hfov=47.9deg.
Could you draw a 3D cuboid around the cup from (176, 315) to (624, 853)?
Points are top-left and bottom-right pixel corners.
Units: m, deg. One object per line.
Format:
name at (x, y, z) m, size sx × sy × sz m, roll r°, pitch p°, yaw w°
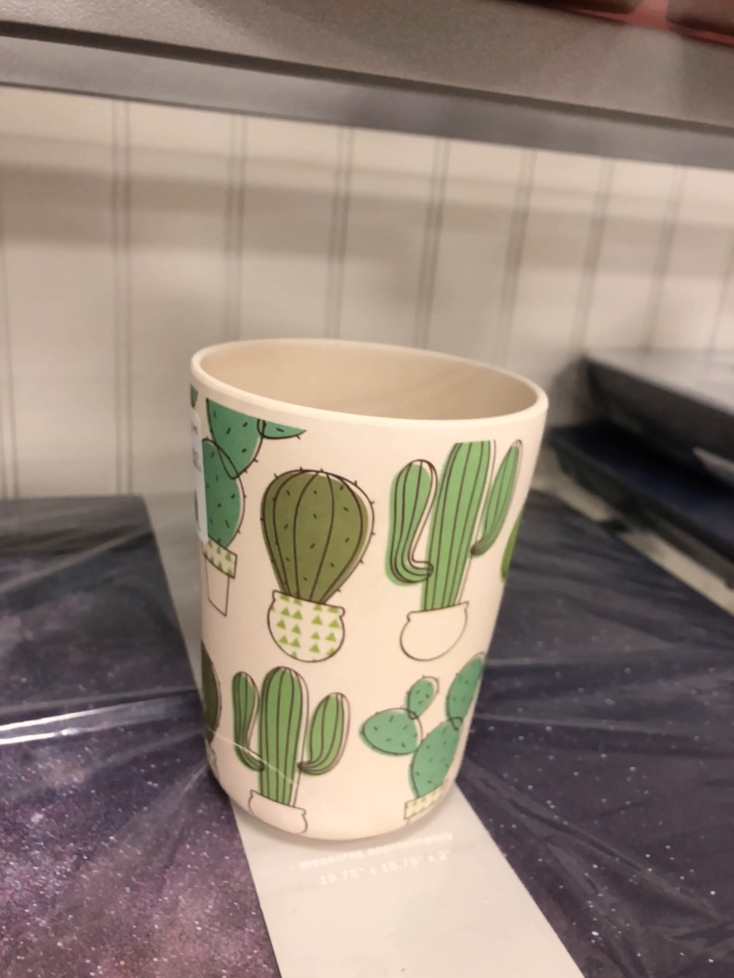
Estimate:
cup at (0.000, 0.024, 0.249) m, size 0.100 × 0.129 × 0.091 m, roll 3°, pitch 20°, yaw -6°
